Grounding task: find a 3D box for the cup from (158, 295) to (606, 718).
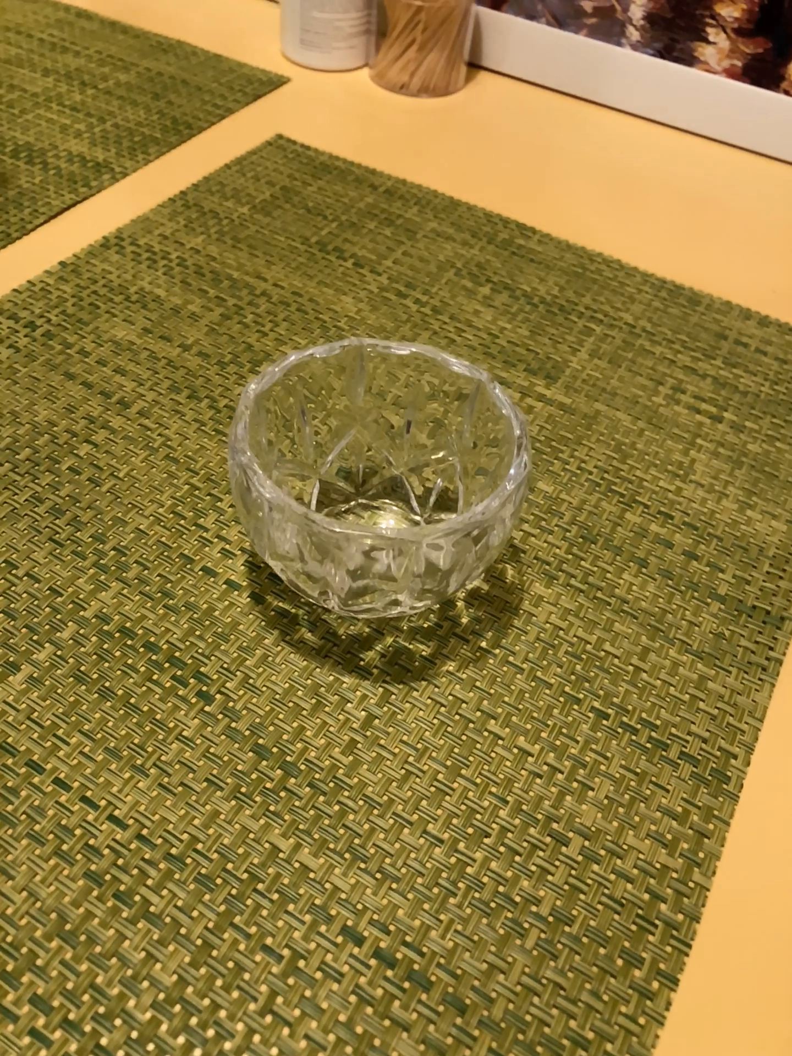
[{"bbox_3d":[-0.004,-0.010,0.225,0.072,0.045,0.080,38,54,24],"label":"cup"}]
